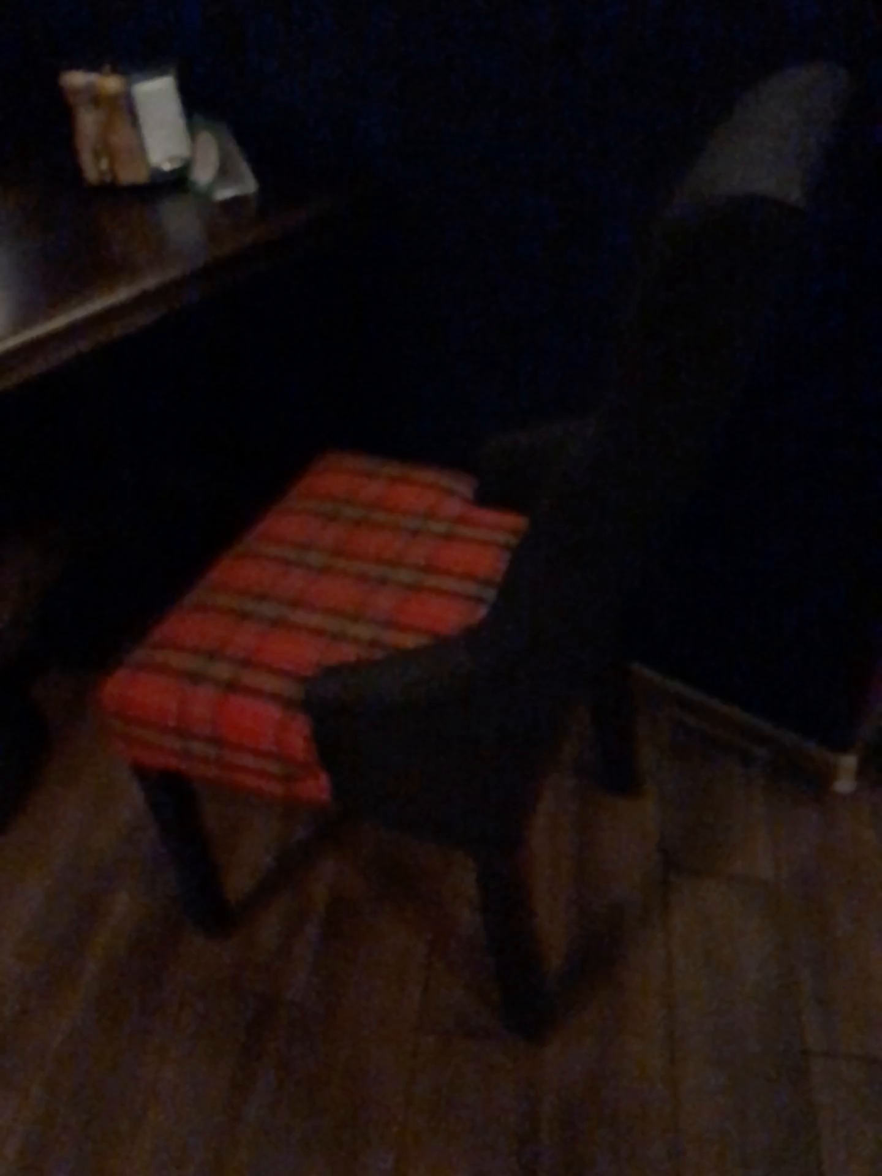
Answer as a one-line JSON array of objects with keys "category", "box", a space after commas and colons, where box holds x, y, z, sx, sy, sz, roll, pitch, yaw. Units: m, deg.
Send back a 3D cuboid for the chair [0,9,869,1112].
[{"category": "chair", "box": [0.028, -0.024, 1.094, 0.611, 1.002, 0.523, 12, 40, 21]}]
